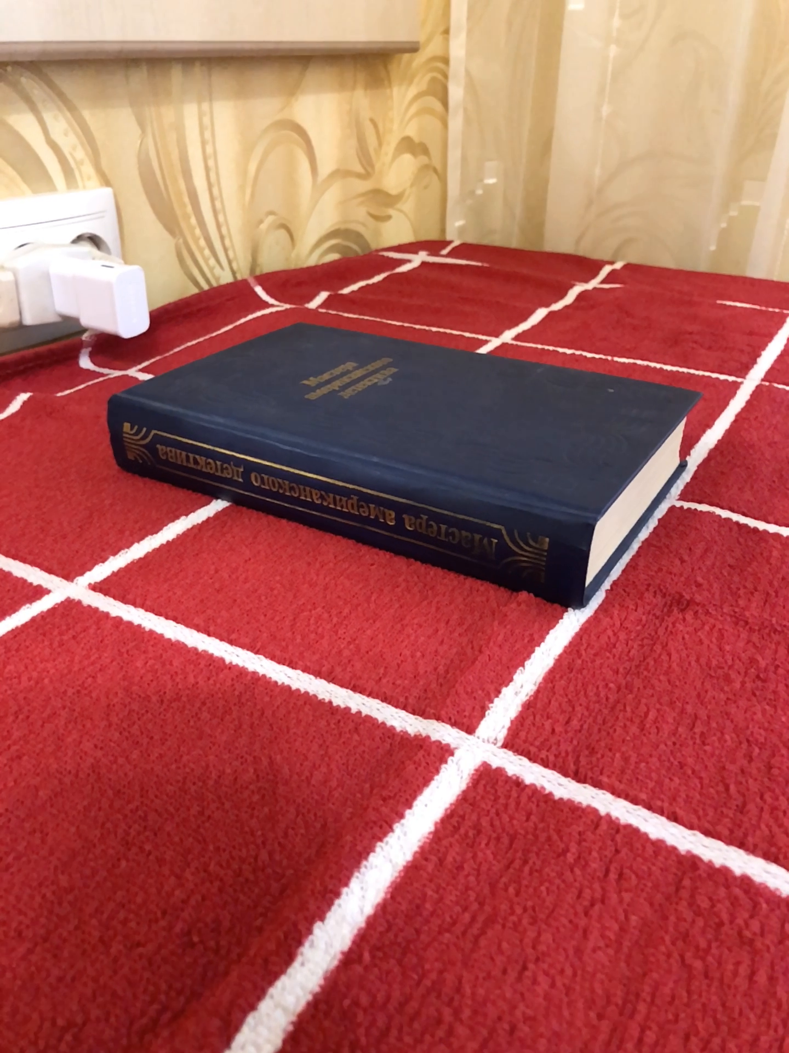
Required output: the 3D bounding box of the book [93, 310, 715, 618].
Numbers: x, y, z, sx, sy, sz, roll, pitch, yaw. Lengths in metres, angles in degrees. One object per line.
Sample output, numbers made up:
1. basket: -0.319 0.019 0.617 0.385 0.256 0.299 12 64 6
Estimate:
1. book: 0.008 -0.040 0.343 0.193 0.030 0.143 16 32 26
